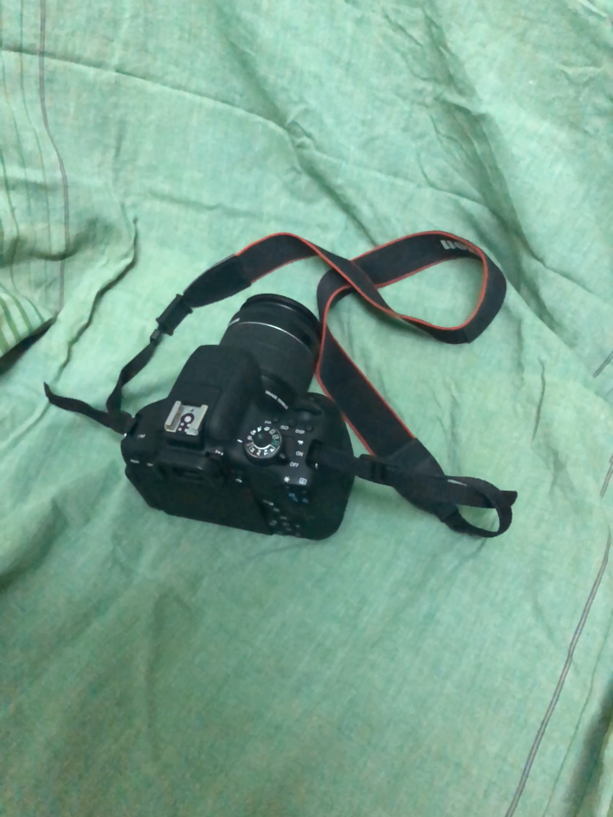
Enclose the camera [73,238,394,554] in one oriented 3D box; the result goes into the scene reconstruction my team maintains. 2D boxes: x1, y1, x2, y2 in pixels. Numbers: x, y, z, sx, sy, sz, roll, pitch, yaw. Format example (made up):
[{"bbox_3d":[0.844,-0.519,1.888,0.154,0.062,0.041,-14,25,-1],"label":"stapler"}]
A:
[{"bbox_3d":[-0.031,-0.010,0.419,0.142,0.100,0.144,10,59,14],"label":"camera"}]
